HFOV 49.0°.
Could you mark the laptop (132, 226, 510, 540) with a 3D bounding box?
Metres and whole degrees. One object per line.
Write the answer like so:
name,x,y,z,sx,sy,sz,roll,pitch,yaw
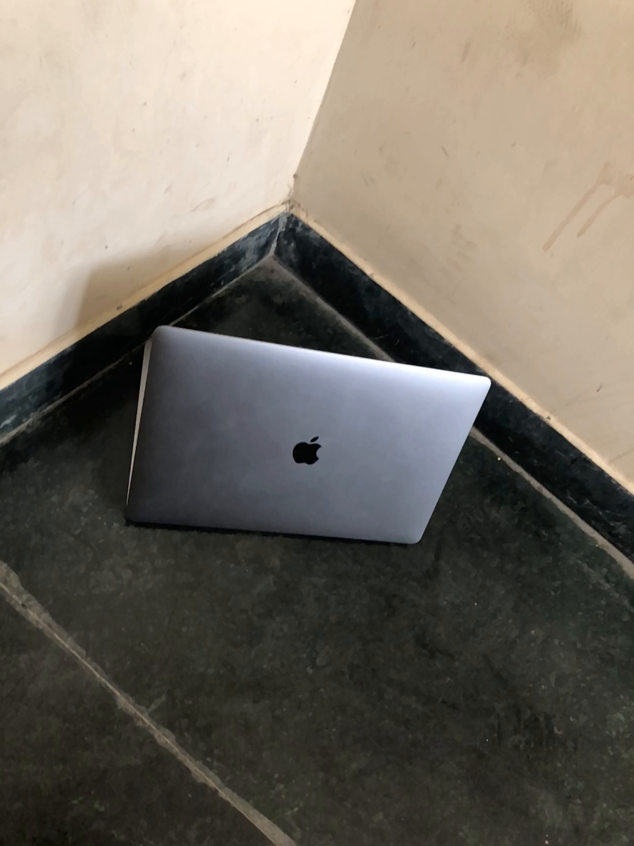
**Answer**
laptop,-0.010,-0.029,0.750,0.329,0.198,0.221,8,58,-14
